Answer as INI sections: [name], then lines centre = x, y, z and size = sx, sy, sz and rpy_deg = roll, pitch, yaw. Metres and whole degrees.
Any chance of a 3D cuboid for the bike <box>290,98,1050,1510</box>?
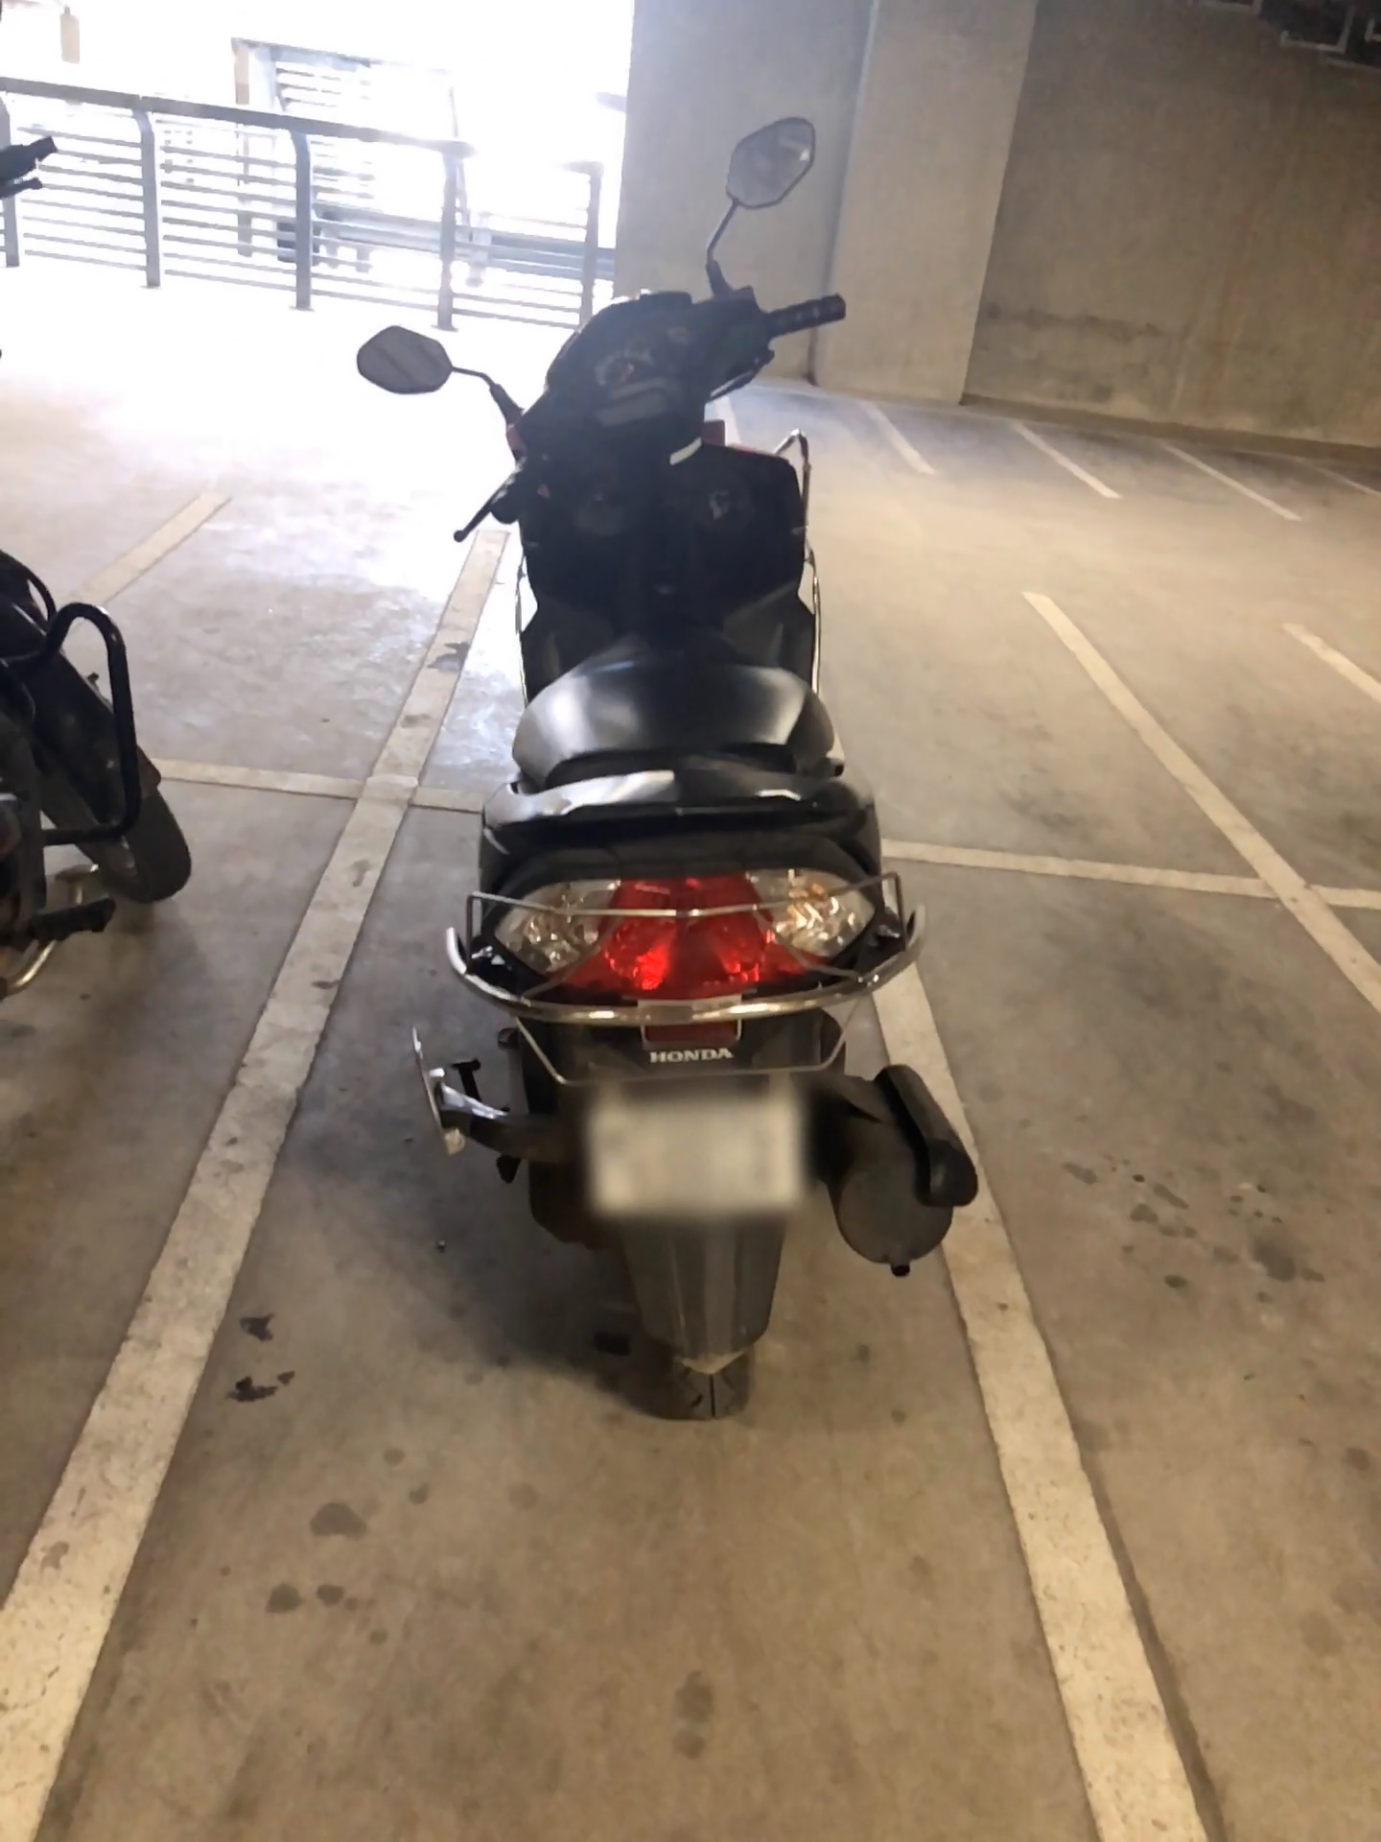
[bike]
centre = -0.145, -0.418, 2.246
size = 0.582, 1.188, 1.961
rpy_deg = 4, 31, -8
